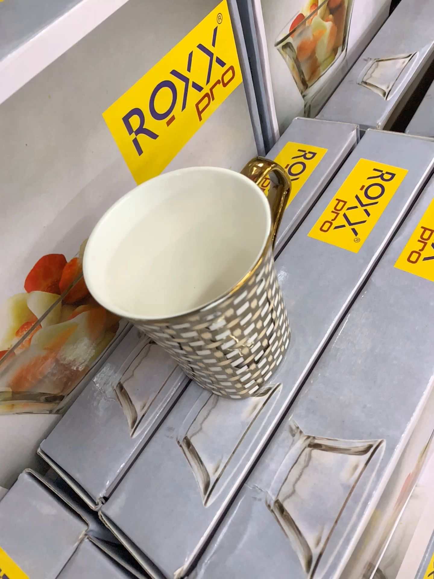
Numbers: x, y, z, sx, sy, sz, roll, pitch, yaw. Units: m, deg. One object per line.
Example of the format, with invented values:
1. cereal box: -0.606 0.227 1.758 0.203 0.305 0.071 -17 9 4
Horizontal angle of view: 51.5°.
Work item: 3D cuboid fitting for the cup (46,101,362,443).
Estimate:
1. cup: 0.006 -0.011 0.210 0.080 0.089 0.110 20 62 28
